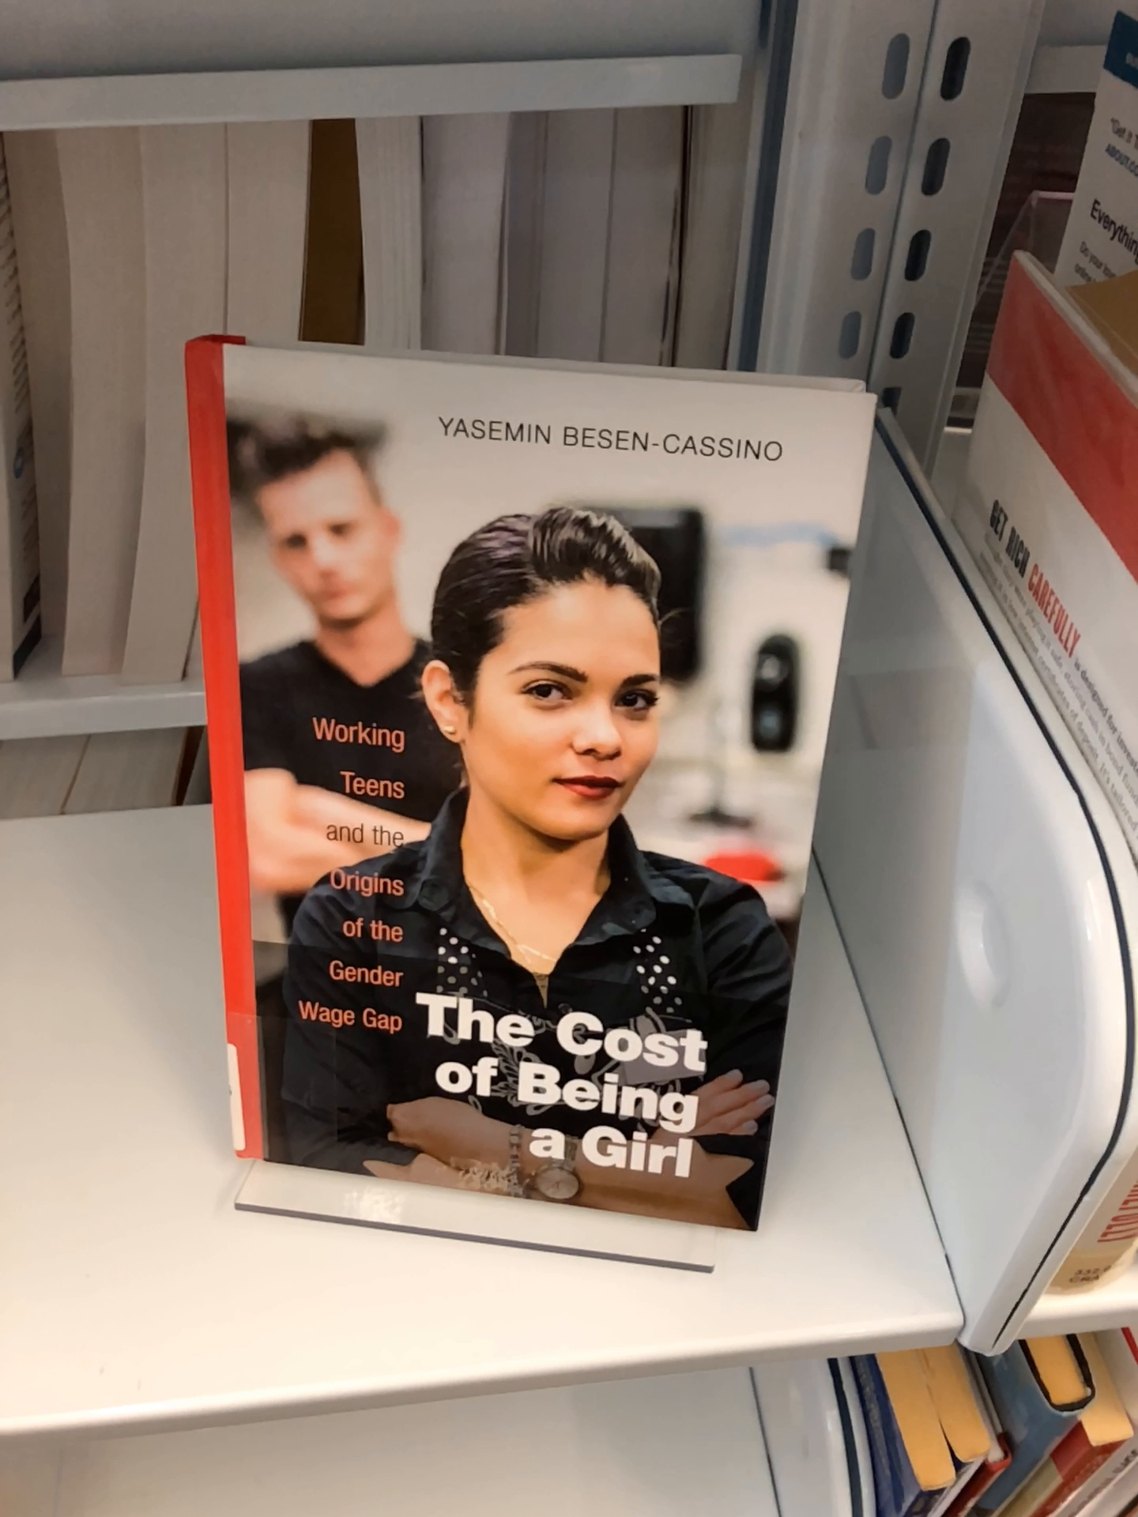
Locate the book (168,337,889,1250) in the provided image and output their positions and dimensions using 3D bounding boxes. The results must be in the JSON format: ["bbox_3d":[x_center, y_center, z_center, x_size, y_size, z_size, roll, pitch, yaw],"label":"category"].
[{"bbox_3d":[-0.014,0.017,0.327,0.156,0.230,0.030,5,22,6],"label":"book"}]
